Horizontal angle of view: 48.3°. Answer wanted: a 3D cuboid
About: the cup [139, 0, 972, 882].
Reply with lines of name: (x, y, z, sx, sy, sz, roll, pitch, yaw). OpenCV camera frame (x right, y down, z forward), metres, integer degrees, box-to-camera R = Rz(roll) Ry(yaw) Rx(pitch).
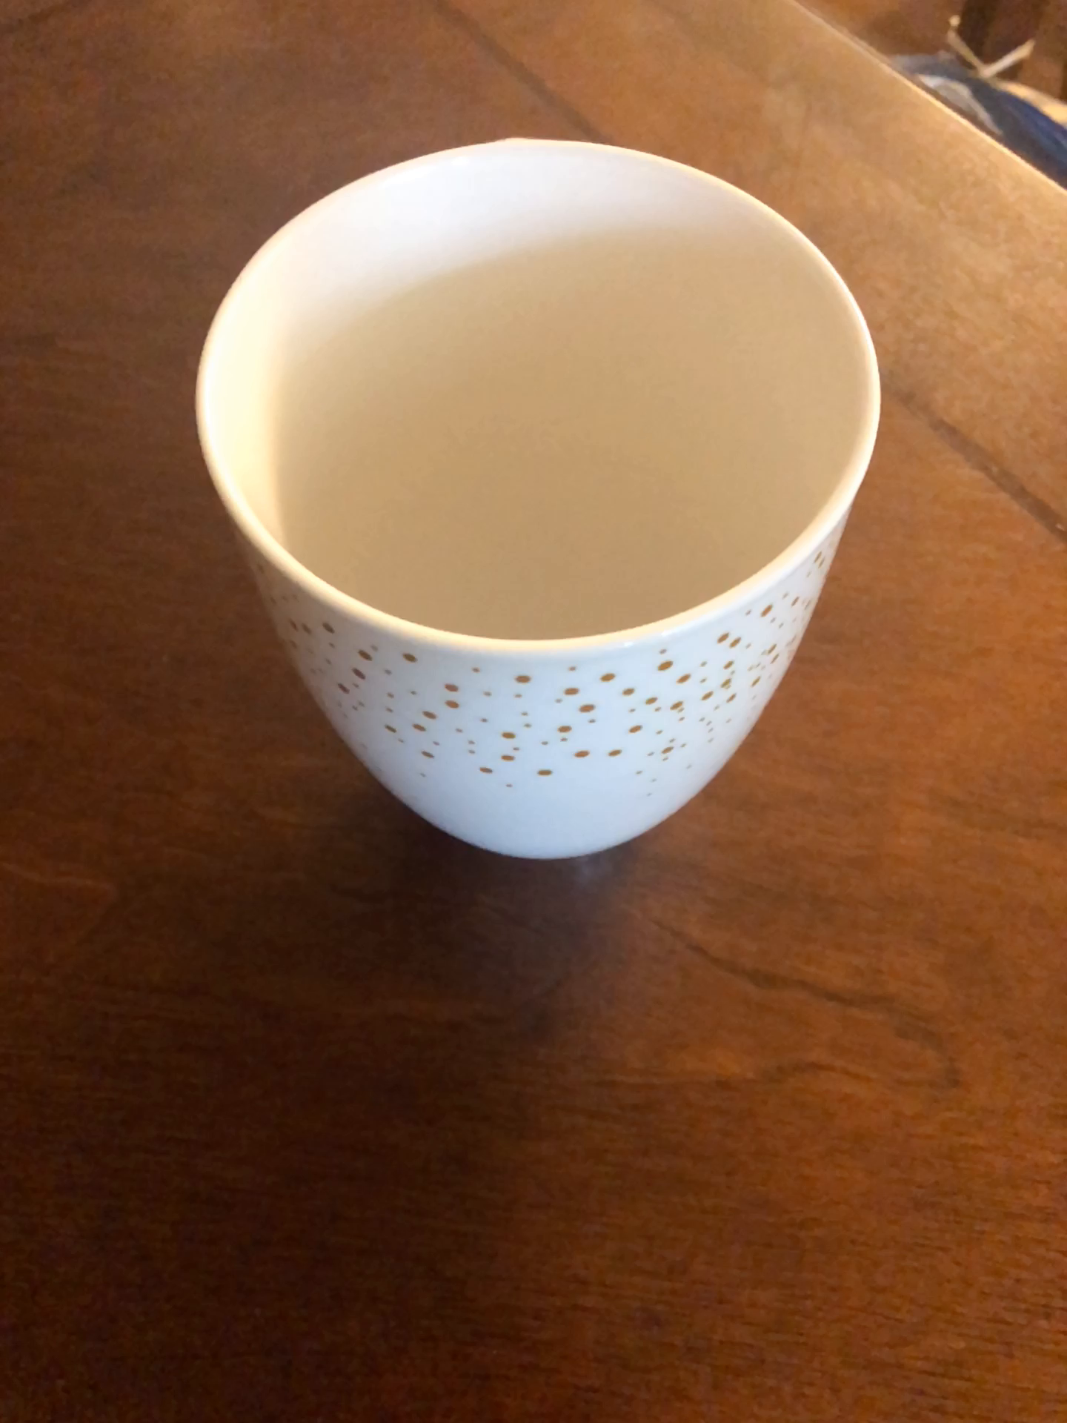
cup: (0.003, -0.052, 0.221, 0.100, 0.100, 0.141, 0, 61, 1)
